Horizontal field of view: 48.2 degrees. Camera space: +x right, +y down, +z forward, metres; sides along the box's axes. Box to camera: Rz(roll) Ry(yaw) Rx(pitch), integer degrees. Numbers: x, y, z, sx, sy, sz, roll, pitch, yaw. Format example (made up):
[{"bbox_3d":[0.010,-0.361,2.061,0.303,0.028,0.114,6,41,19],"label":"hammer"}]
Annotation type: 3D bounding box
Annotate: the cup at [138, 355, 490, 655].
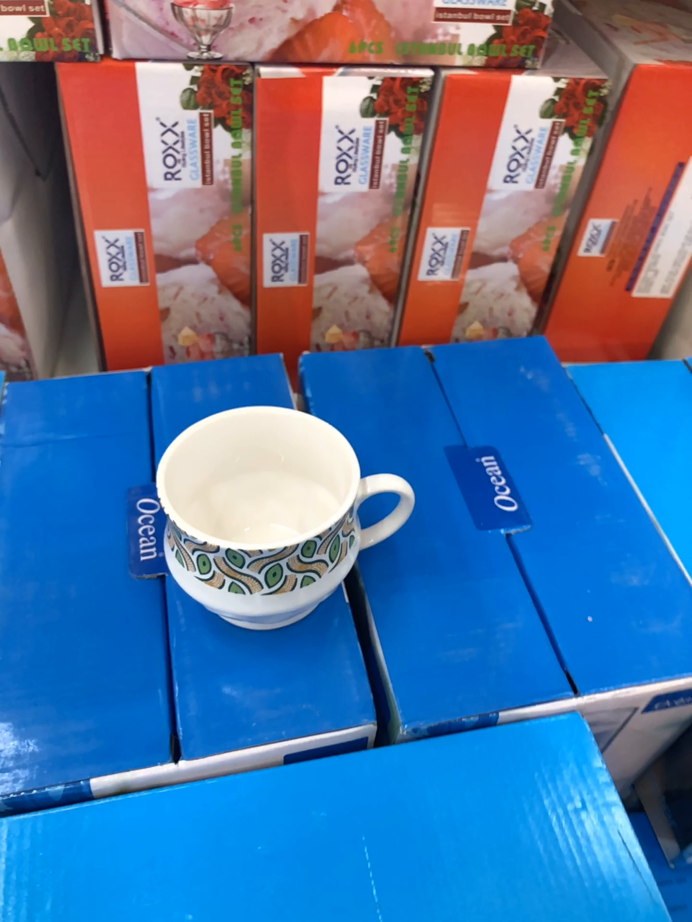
[{"bbox_3d":[-0.016,0.013,0.269,0.100,0.060,0.070,-7,48,-13],"label":"cup"}]
